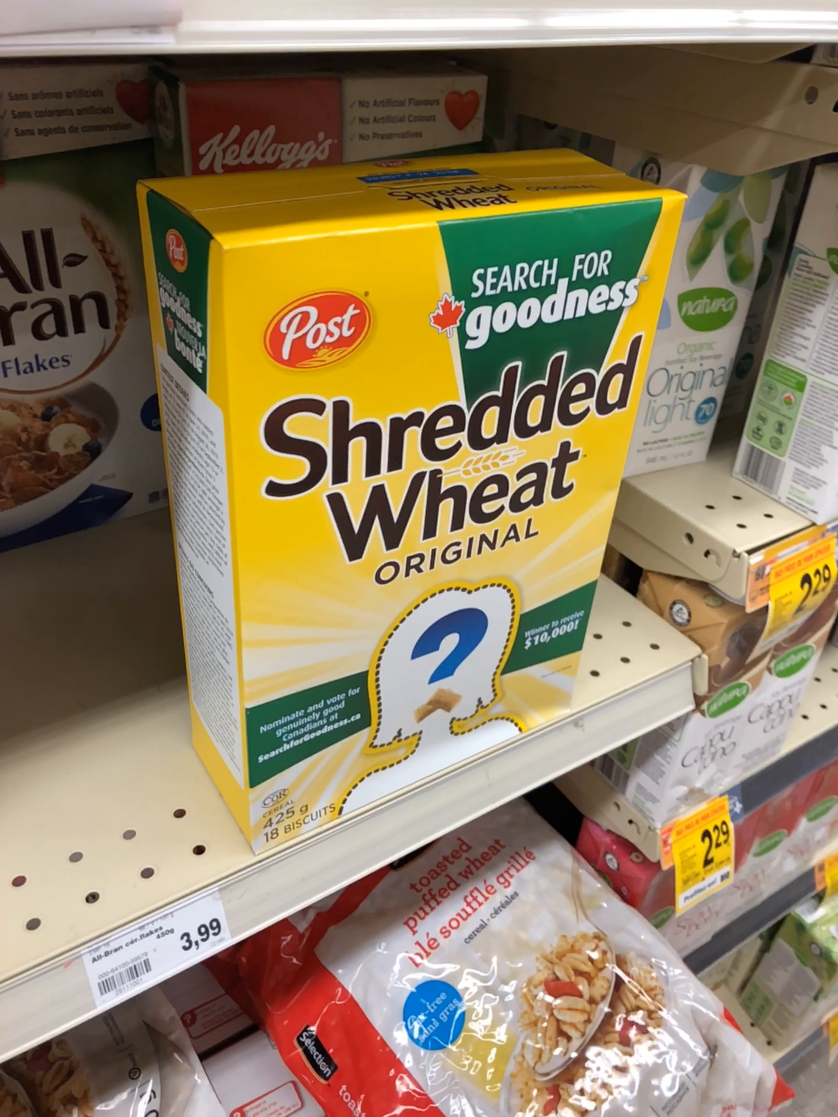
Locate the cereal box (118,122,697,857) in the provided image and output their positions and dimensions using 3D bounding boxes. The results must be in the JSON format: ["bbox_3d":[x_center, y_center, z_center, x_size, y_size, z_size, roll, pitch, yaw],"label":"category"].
[{"bbox_3d":[-0.006,-0.028,0.420,0.201,0.288,0.080,-18,41,-29],"label":"cereal box"}]
